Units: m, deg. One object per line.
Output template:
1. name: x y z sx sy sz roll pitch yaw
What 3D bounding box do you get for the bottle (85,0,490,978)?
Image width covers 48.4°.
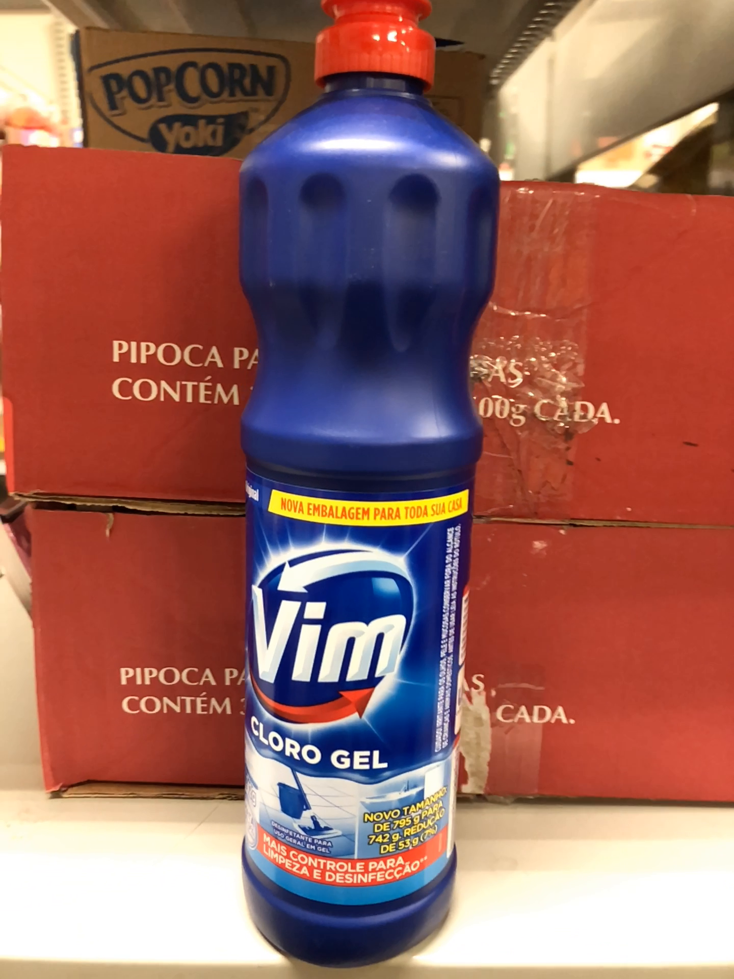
1. bottle: -0.012 0.001 0.204 0.070 0.229 0.060 4 14 16
